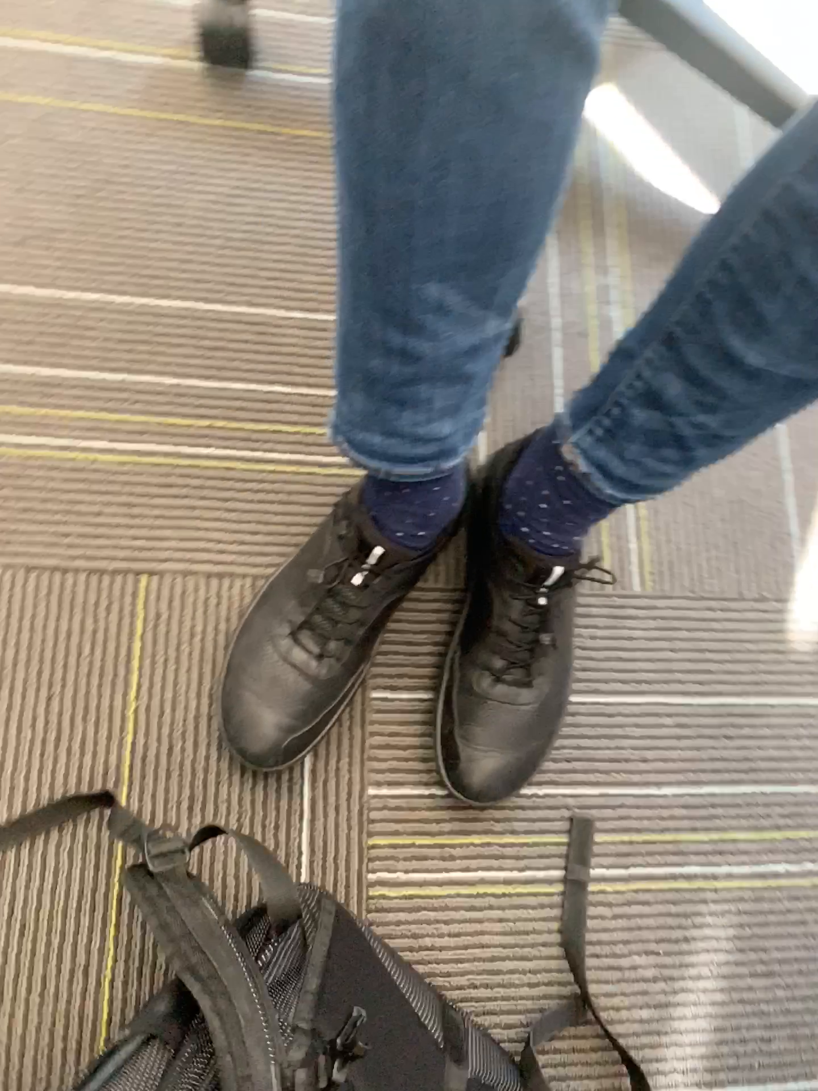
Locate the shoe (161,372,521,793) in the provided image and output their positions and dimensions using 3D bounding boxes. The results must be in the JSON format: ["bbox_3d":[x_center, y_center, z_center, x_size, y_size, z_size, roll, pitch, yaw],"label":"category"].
[{"bbox_3d":[-0.048,0.028,0.667,0.110,0.100,0.310,34,72,1],"label":"shoe"}]

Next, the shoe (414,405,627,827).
[{"bbox_3d":[0.091,0.057,0.689,0.110,0.100,0.310,12,73,-6],"label":"shoe"}]
